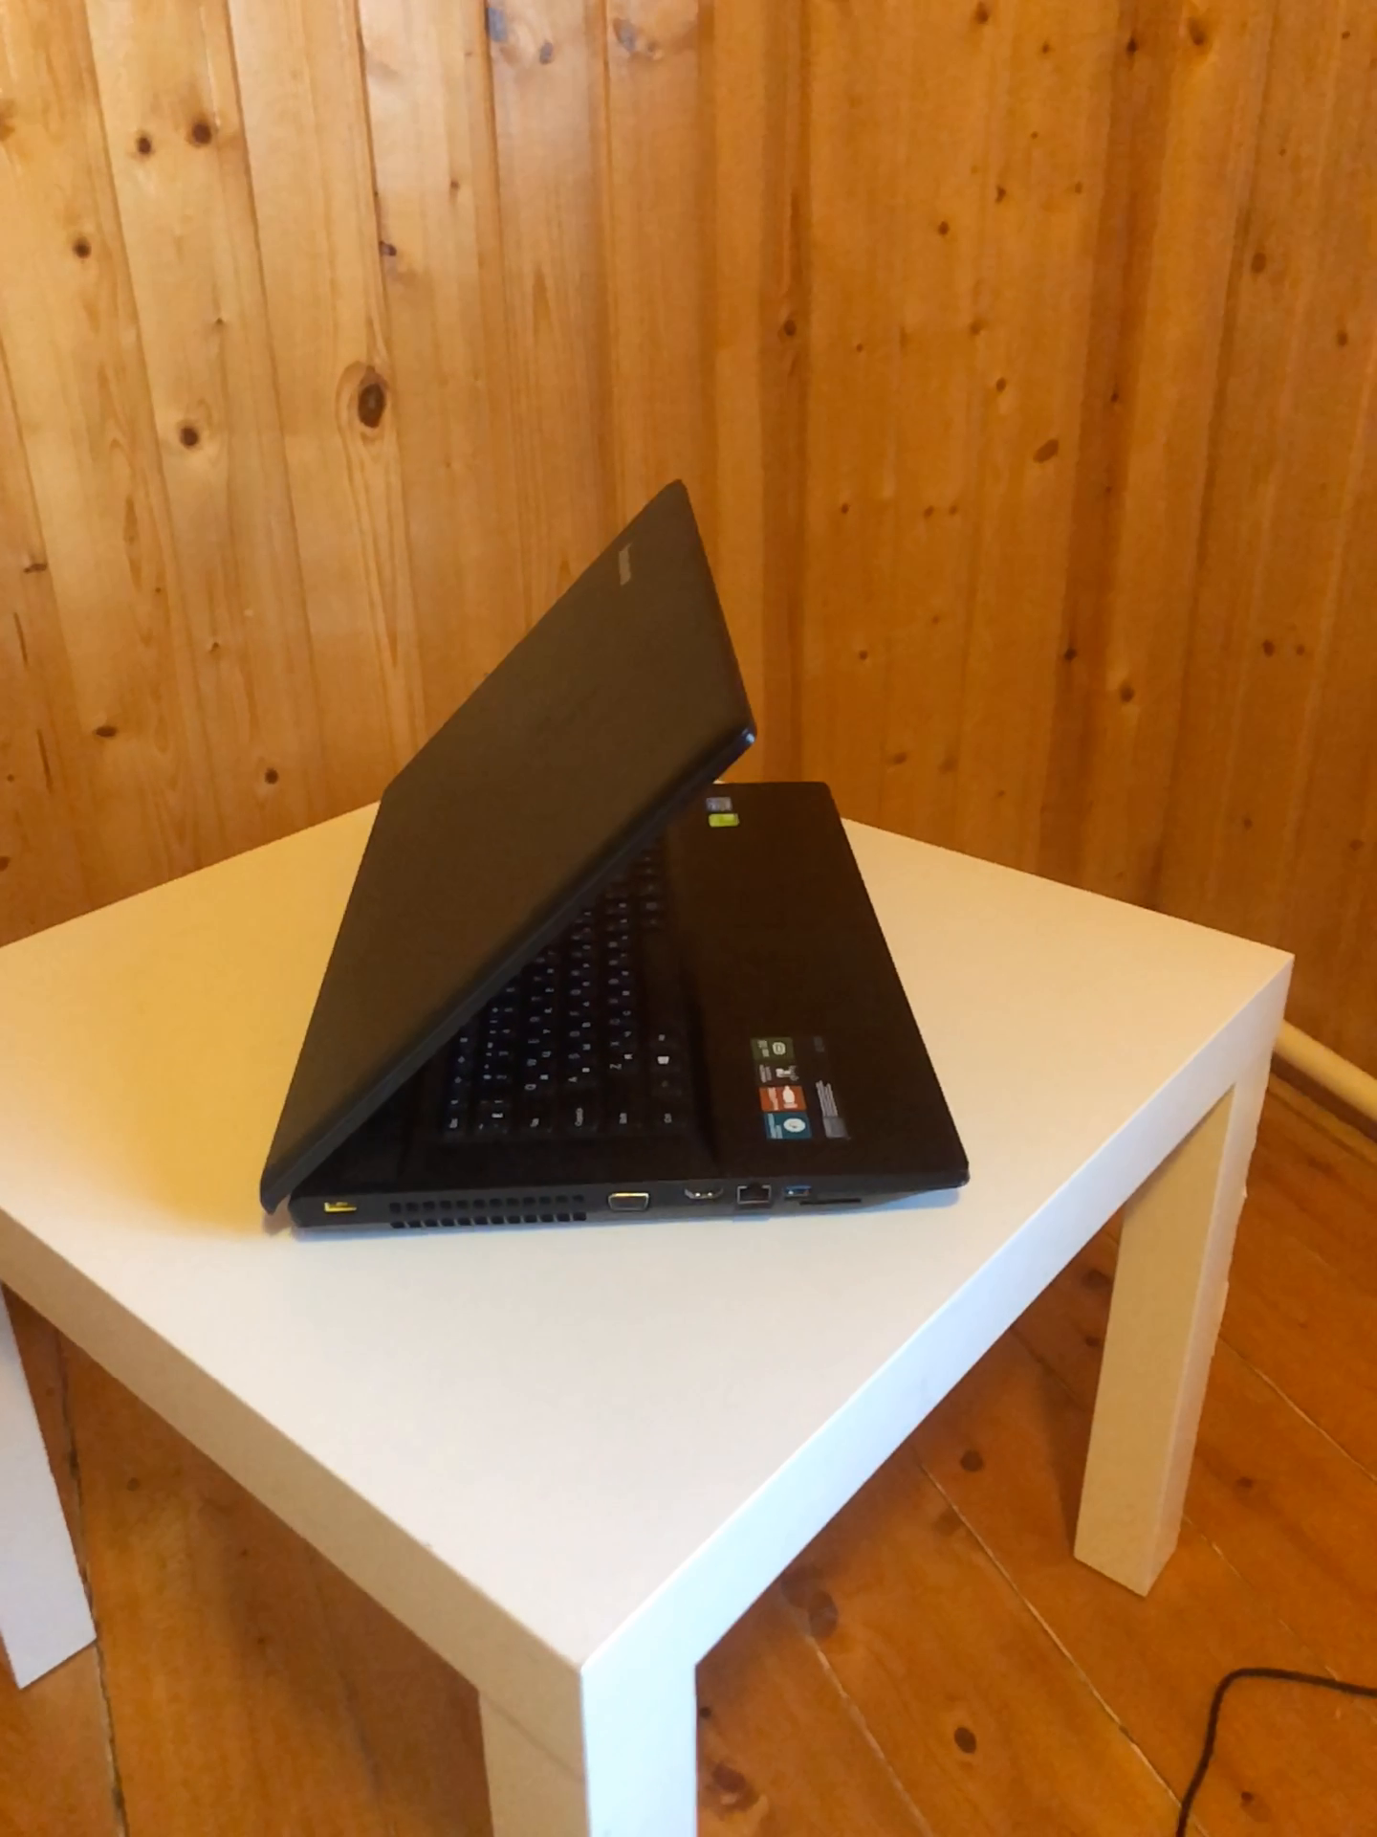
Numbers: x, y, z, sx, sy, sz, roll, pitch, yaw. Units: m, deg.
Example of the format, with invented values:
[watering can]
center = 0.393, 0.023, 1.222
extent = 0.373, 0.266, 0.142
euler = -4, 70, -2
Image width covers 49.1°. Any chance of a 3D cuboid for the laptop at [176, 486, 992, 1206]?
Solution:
[laptop]
center = -0.042, -0.071, 0.726
extent = 0.271, 0.184, 0.412
euler = -2, 27, -3
